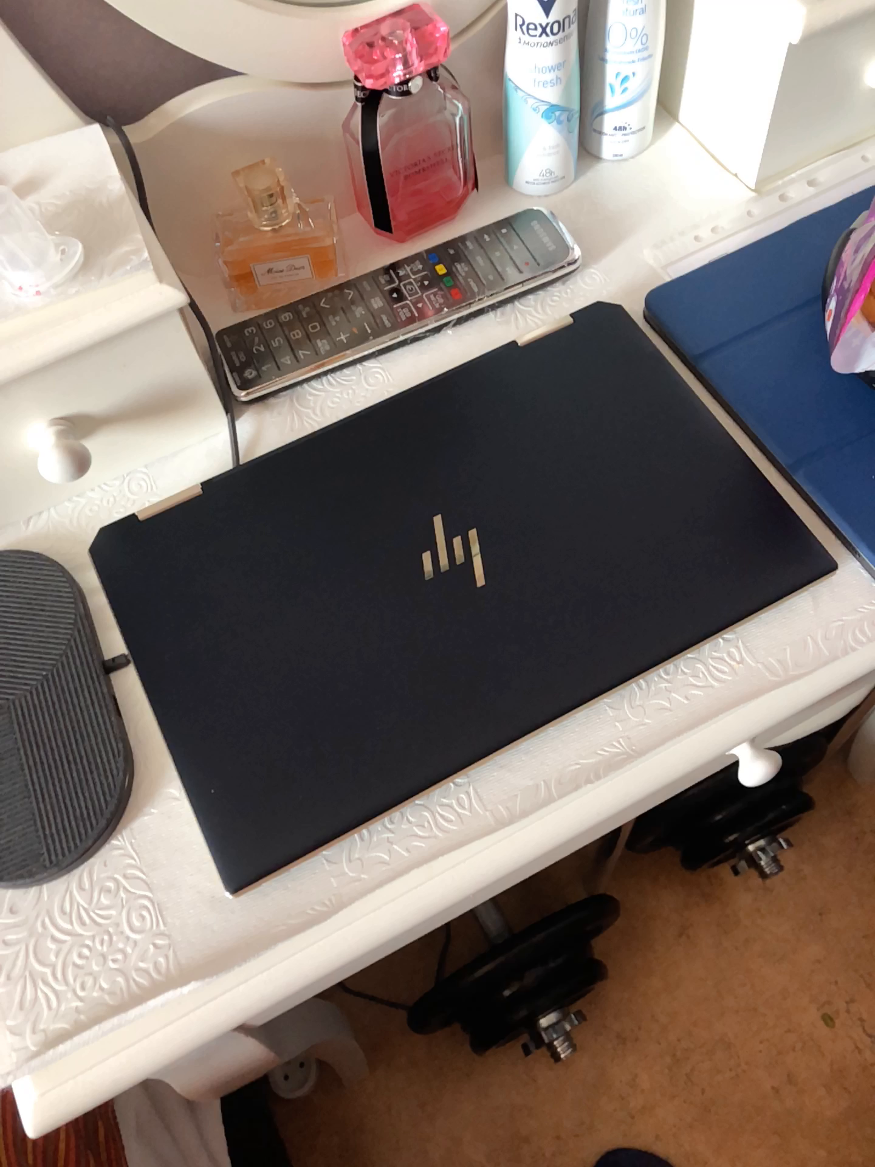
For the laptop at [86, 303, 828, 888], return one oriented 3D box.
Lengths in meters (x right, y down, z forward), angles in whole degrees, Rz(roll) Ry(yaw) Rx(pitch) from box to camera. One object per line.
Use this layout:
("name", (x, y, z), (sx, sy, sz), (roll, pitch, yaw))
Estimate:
("laptop", (0.010, -0.014, 0.404), (0.267, 0.007, 0.161), (-26, 67, -15))
